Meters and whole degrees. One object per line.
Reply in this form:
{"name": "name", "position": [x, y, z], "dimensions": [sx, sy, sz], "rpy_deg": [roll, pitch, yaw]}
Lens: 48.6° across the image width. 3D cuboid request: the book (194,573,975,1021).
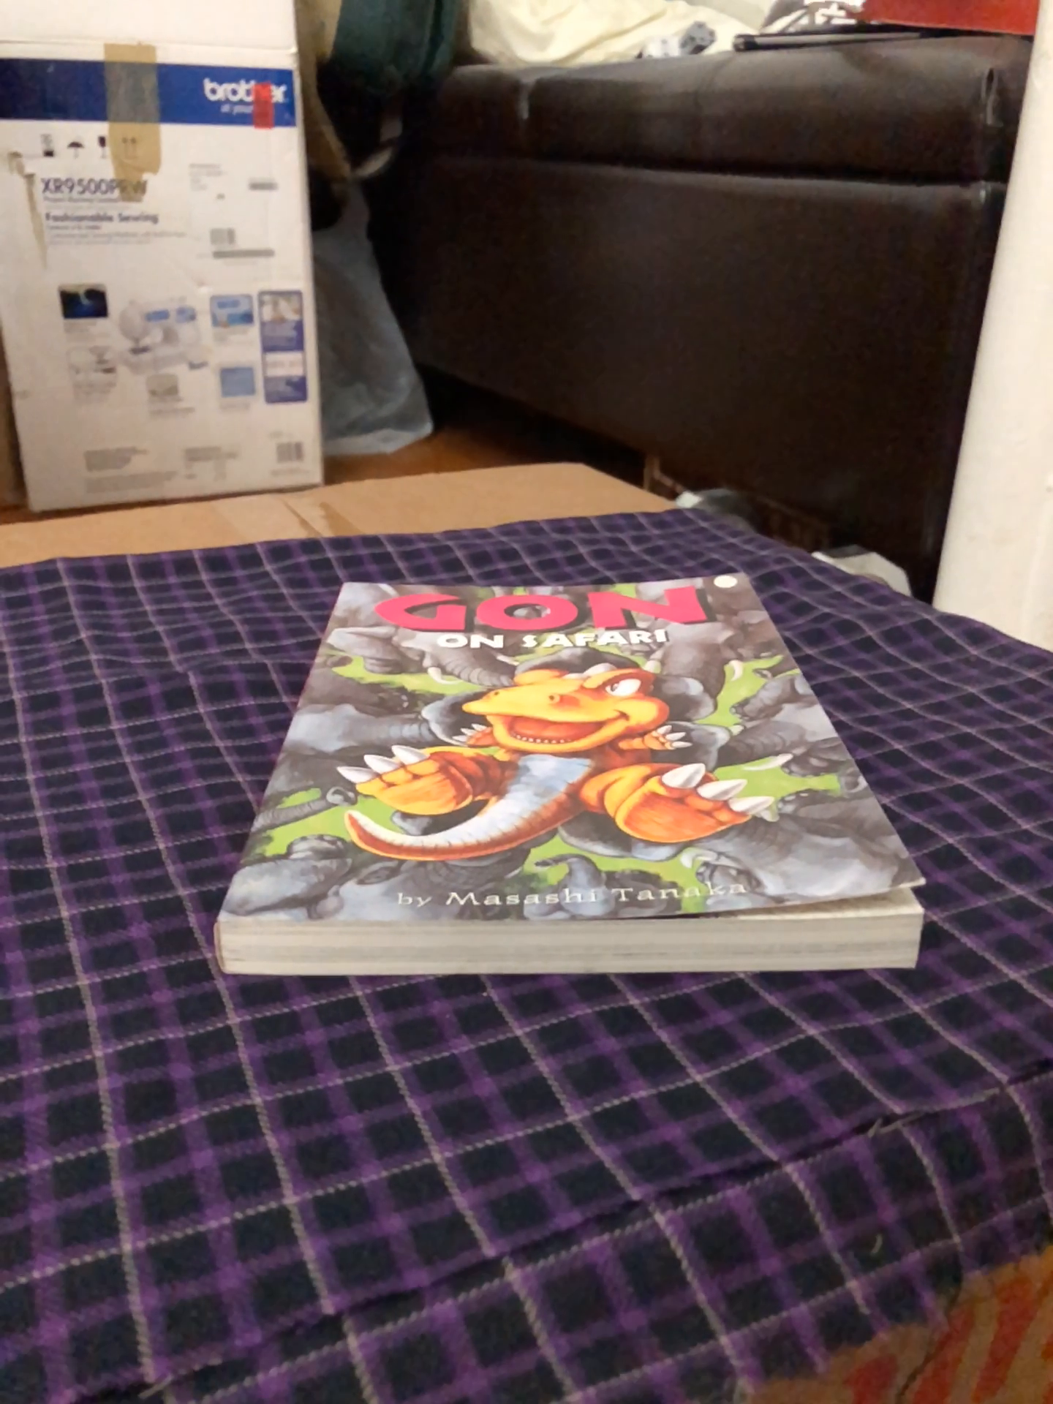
{"name": "book", "position": [0.010, 0.009, 0.323], "dimensions": [0.150, 0.020, 0.211], "rpy_deg": [1, 25, -1]}
